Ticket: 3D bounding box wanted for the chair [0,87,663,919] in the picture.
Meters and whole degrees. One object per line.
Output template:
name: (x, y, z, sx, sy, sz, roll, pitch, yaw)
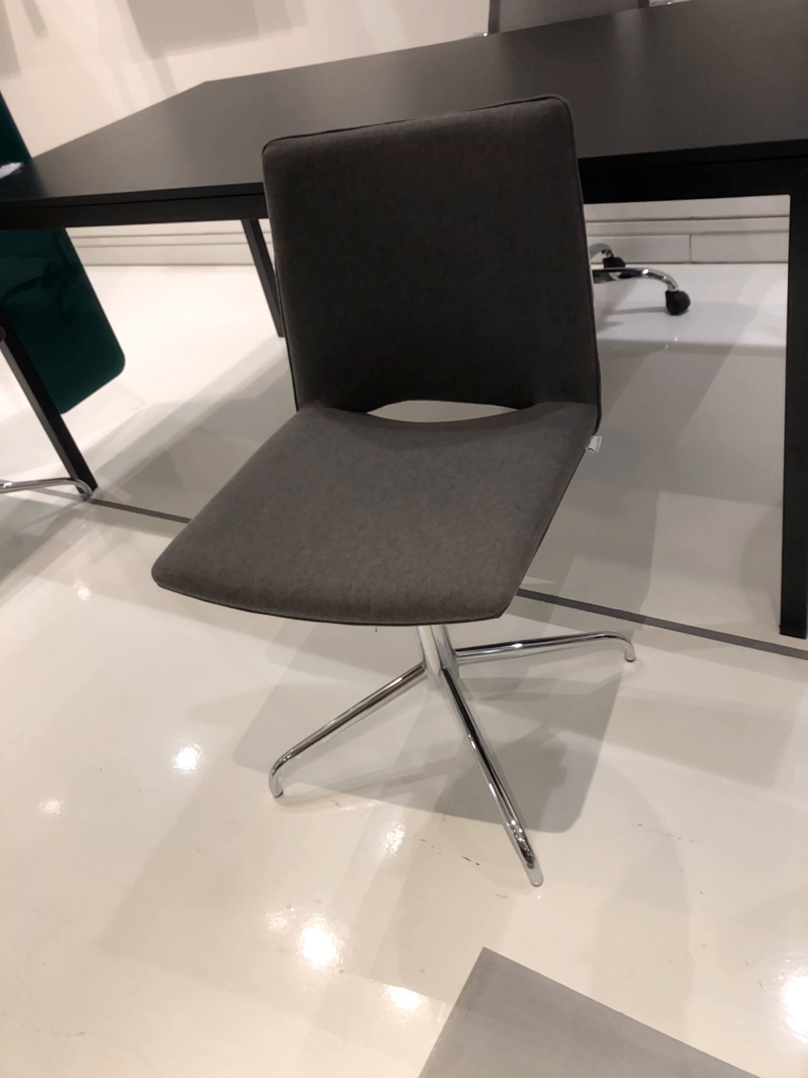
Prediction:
chair: (0.003, -0.035, 1.183, 0.521, 0.844, 0.533, 5, 40, 27)
